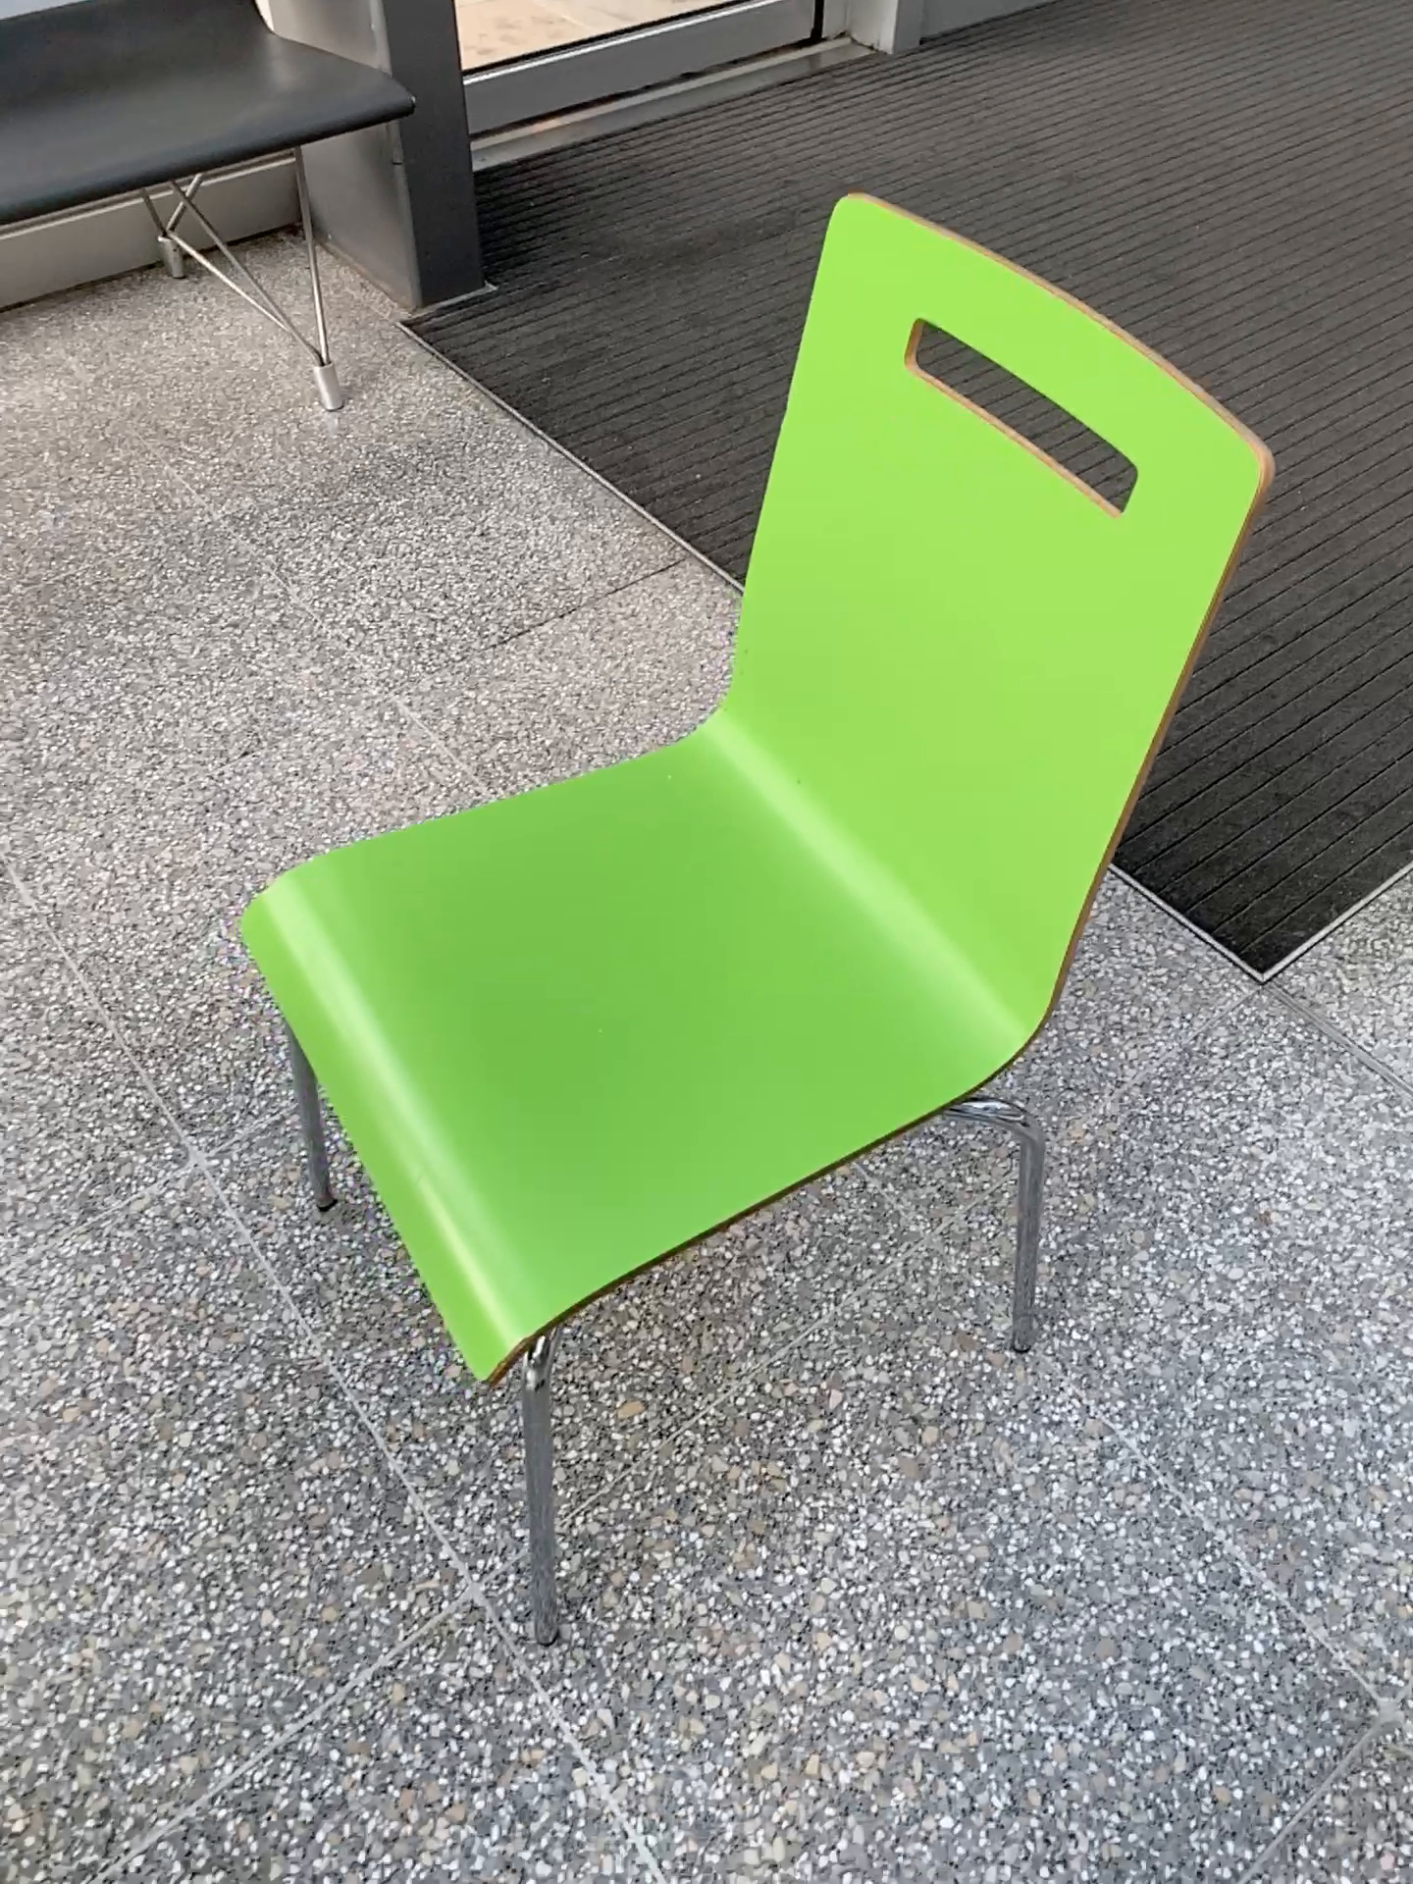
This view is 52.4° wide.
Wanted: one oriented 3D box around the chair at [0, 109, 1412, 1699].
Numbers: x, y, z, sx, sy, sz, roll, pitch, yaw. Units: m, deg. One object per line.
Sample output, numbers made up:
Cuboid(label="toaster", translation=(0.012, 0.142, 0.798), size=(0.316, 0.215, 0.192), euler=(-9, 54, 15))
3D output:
Cuboid(label="chair", translation=(-0.043, 0.012, 1.003), size=(0.531, 0.833, 0.543), euler=(-25, 54, -21))
